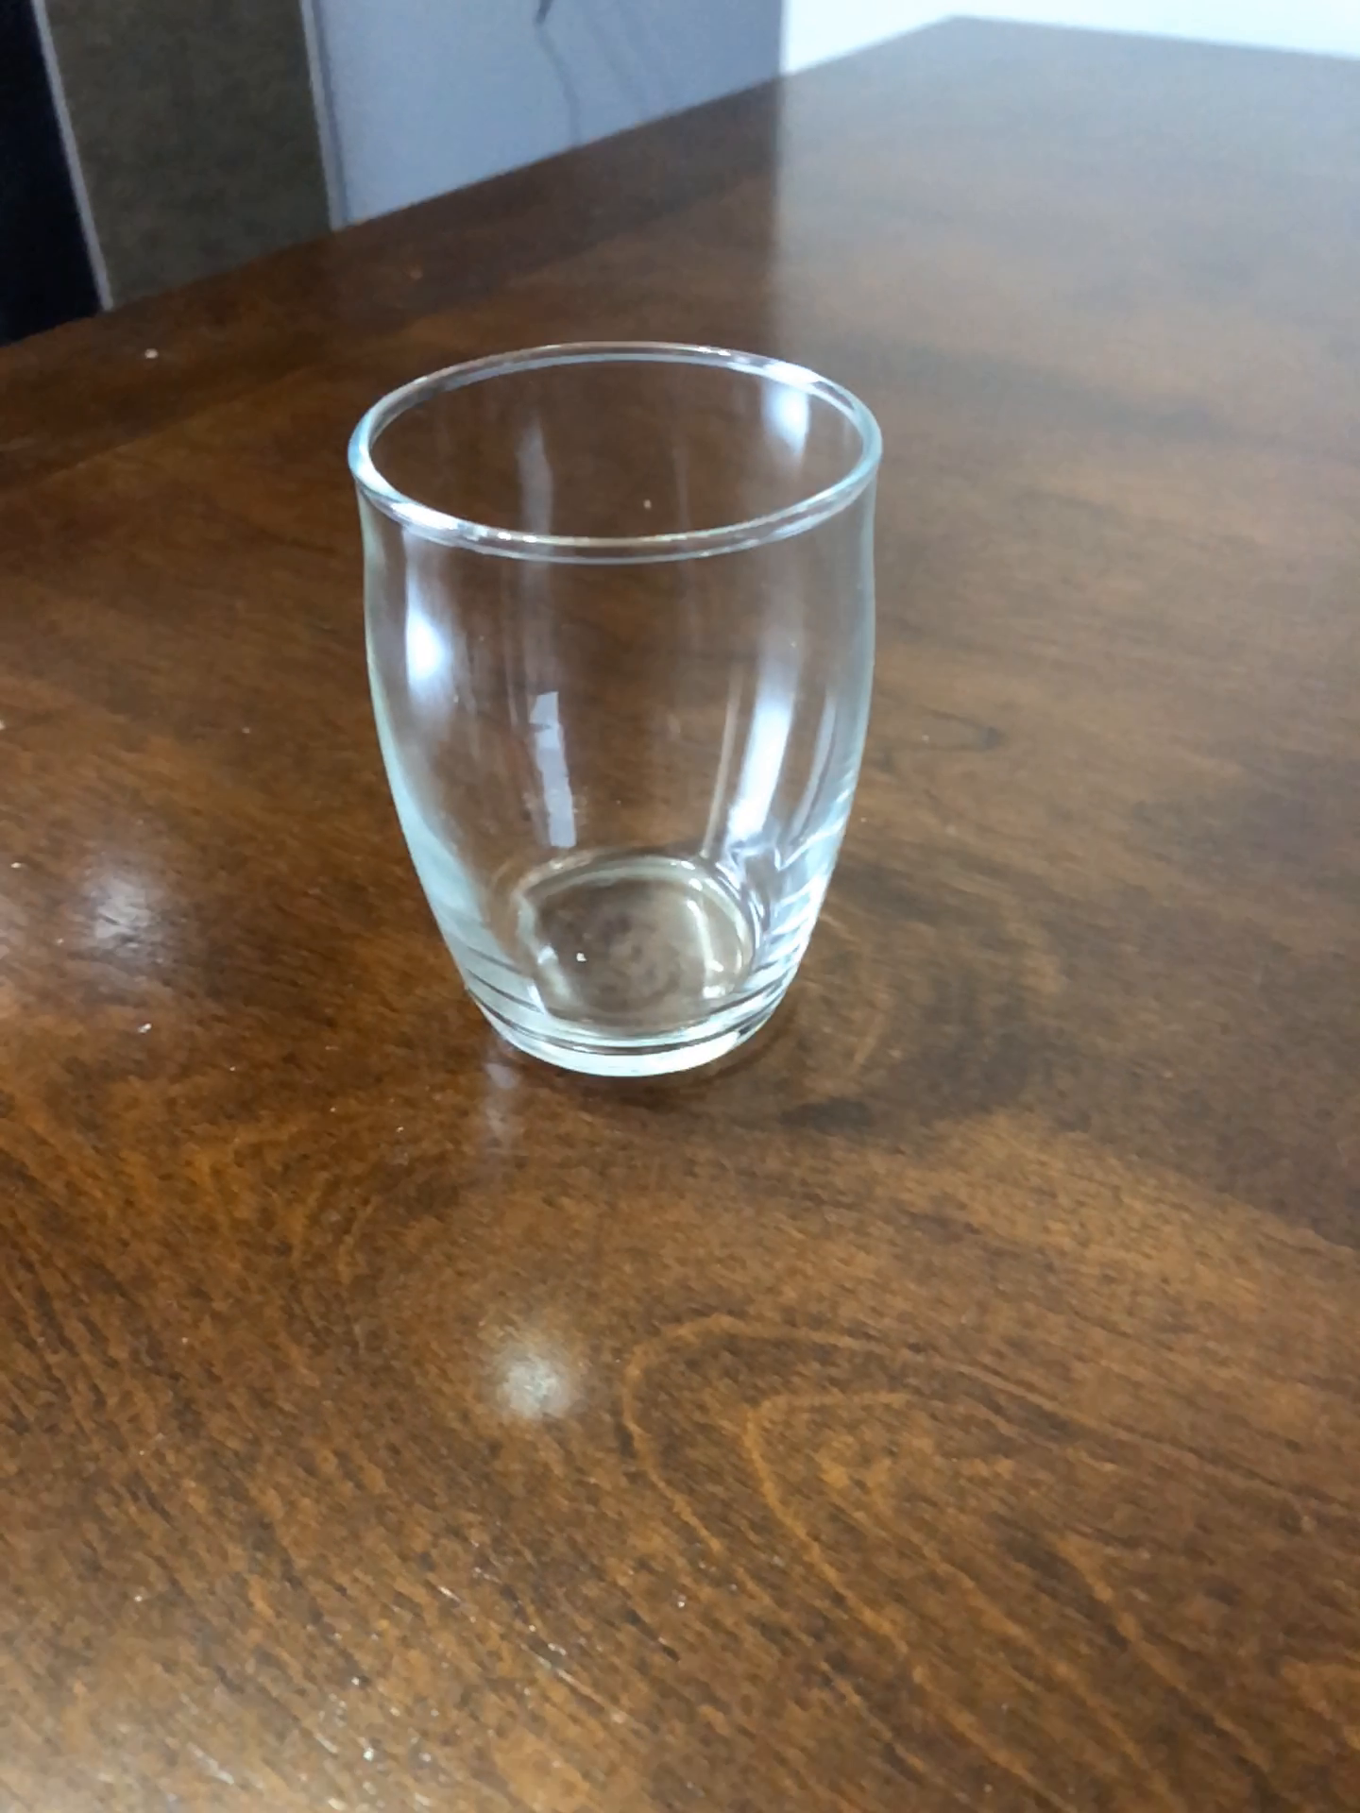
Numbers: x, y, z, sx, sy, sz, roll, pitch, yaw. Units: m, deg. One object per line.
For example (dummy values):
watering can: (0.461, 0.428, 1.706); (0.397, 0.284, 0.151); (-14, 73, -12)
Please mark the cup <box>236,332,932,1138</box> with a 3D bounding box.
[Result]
cup: (-0.006, -0.023, 0.187); (0.060, 0.070, 0.060); (0, 38, 0)
